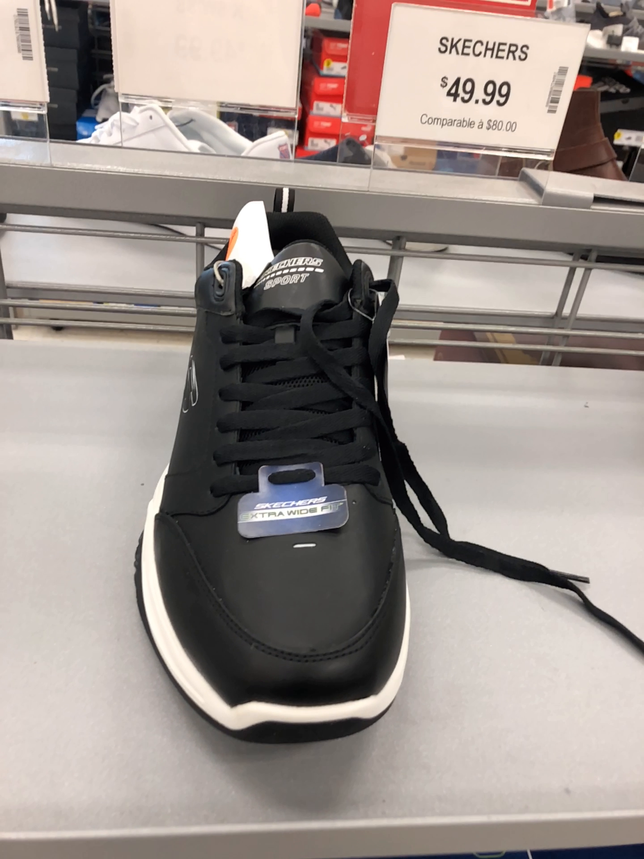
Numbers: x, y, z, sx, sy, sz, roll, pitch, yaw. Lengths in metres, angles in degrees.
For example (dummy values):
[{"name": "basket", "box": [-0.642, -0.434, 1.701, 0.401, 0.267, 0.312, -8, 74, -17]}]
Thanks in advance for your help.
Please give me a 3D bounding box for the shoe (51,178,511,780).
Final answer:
[{"name": "shoe", "box": [-0.027, -0.019, 0.374, 0.130, 0.109, 0.353, 3, 35, -7]}]
